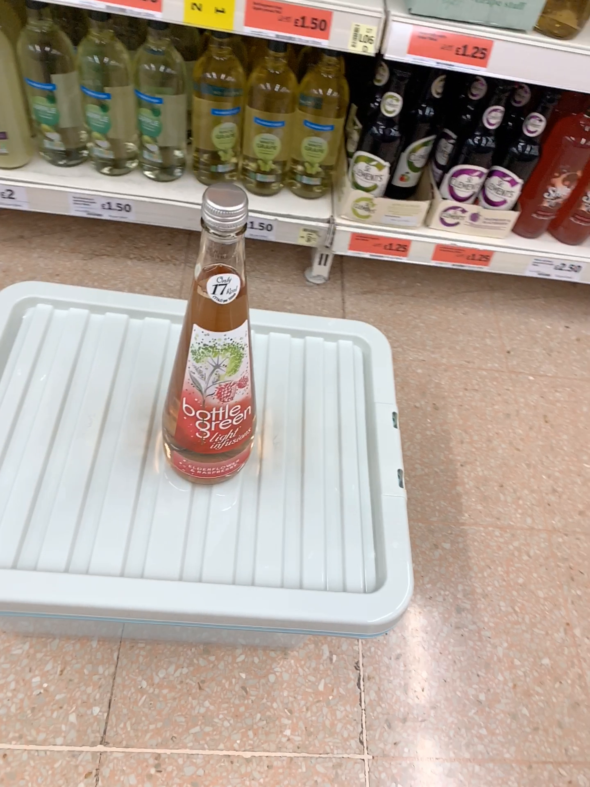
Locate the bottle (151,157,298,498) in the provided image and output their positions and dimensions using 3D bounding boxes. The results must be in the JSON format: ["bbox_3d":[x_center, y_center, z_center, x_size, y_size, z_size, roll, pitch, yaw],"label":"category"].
[{"bbox_3d":[-0.062,-0.024,0.479,0.080,0.299,0.091,3,55,-8],"label":"bottle"}]
